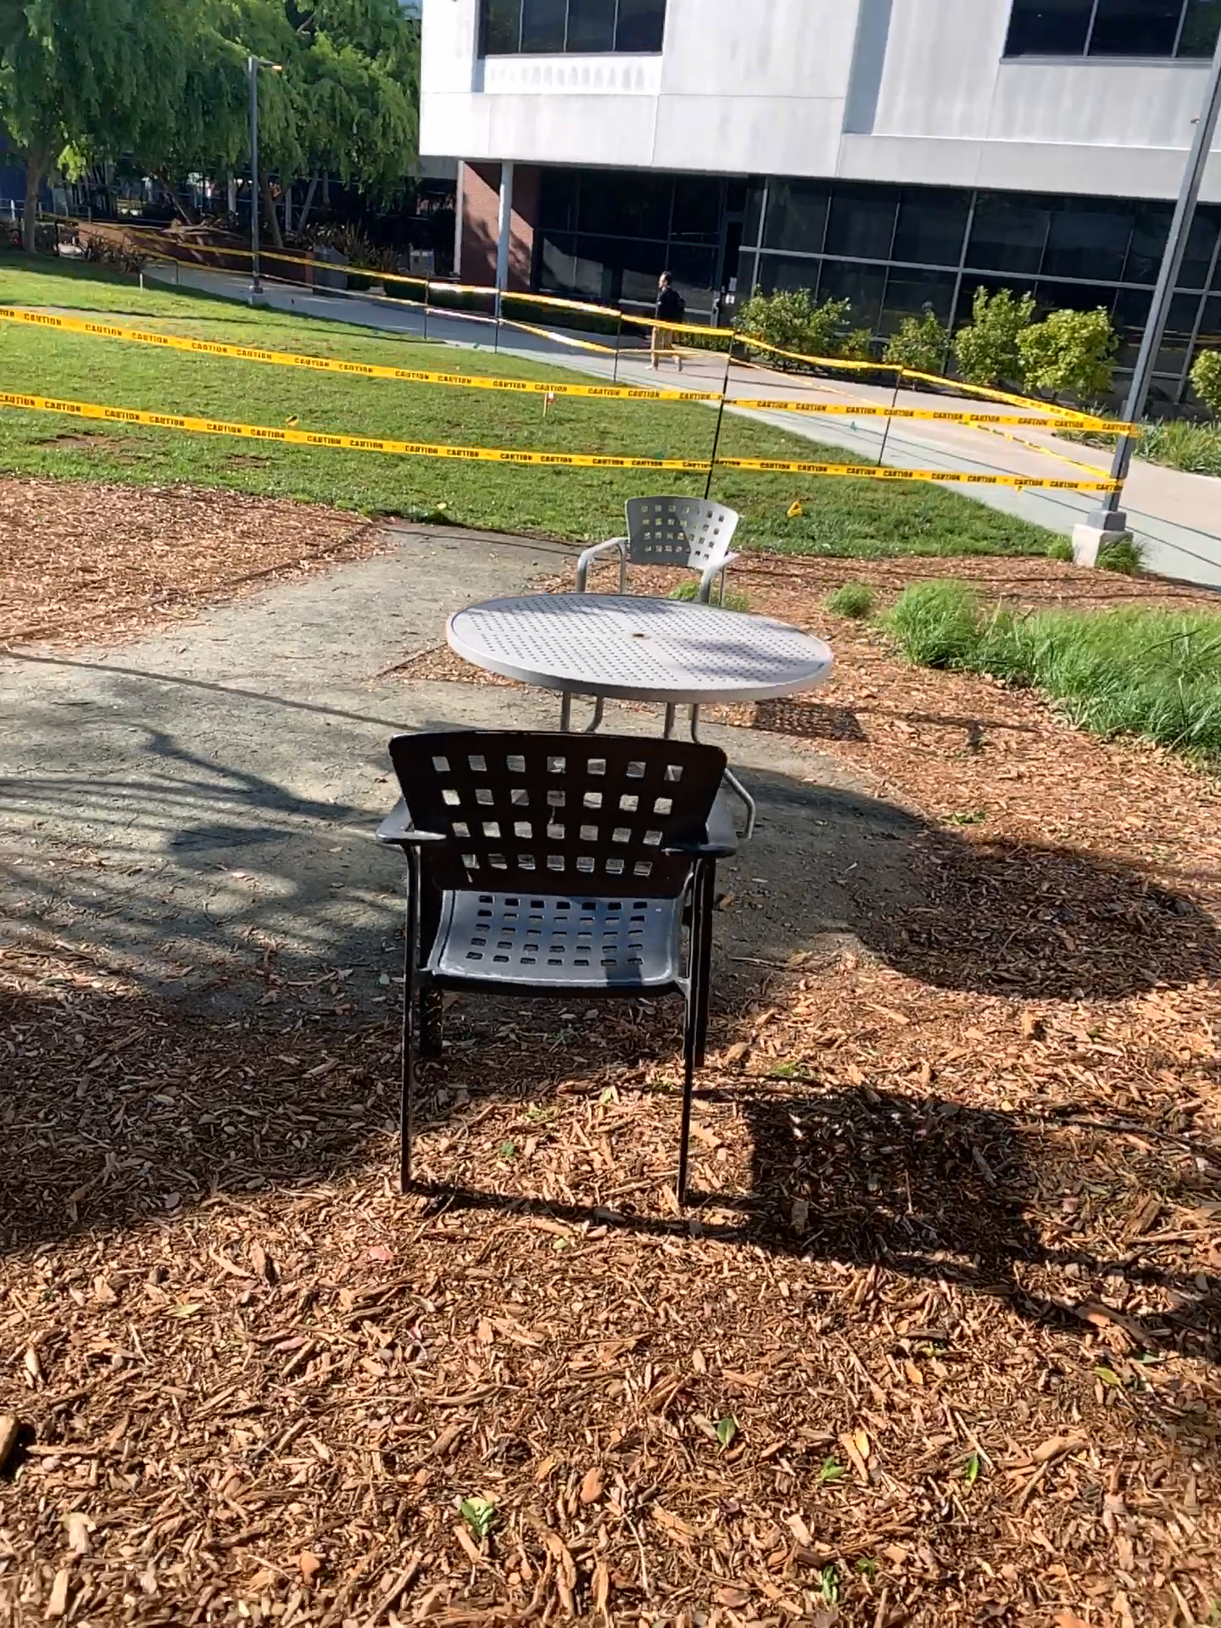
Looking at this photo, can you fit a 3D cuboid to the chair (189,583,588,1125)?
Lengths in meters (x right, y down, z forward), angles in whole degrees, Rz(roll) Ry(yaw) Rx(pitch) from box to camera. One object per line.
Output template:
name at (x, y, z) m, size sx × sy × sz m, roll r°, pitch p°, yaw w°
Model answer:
chair at (-0.349, 0.049, 2.113) m, size 0.520 × 0.716 × 0.502 m, roll 6°, pitch 24°, yaw 1°
